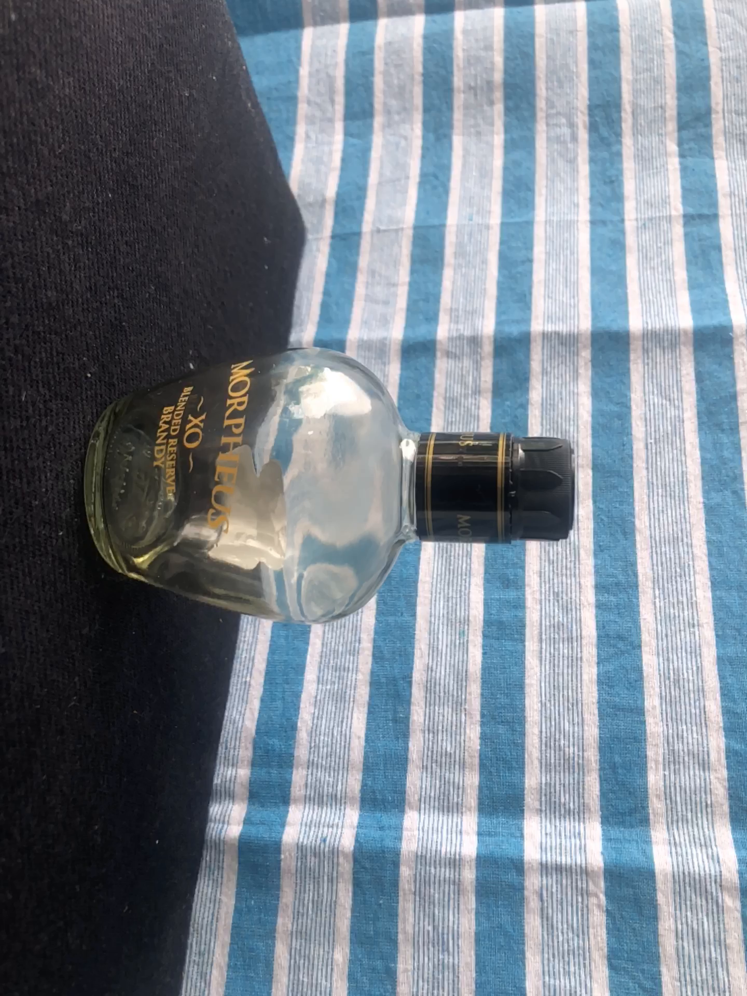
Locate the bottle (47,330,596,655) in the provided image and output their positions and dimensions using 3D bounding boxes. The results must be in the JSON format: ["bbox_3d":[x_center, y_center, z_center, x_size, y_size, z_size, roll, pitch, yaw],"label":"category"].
[{"bbox_3d":[-0.008,0.000,0.223,0.050,0.129,0.070,55,37,-69],"label":"bottle"}]
